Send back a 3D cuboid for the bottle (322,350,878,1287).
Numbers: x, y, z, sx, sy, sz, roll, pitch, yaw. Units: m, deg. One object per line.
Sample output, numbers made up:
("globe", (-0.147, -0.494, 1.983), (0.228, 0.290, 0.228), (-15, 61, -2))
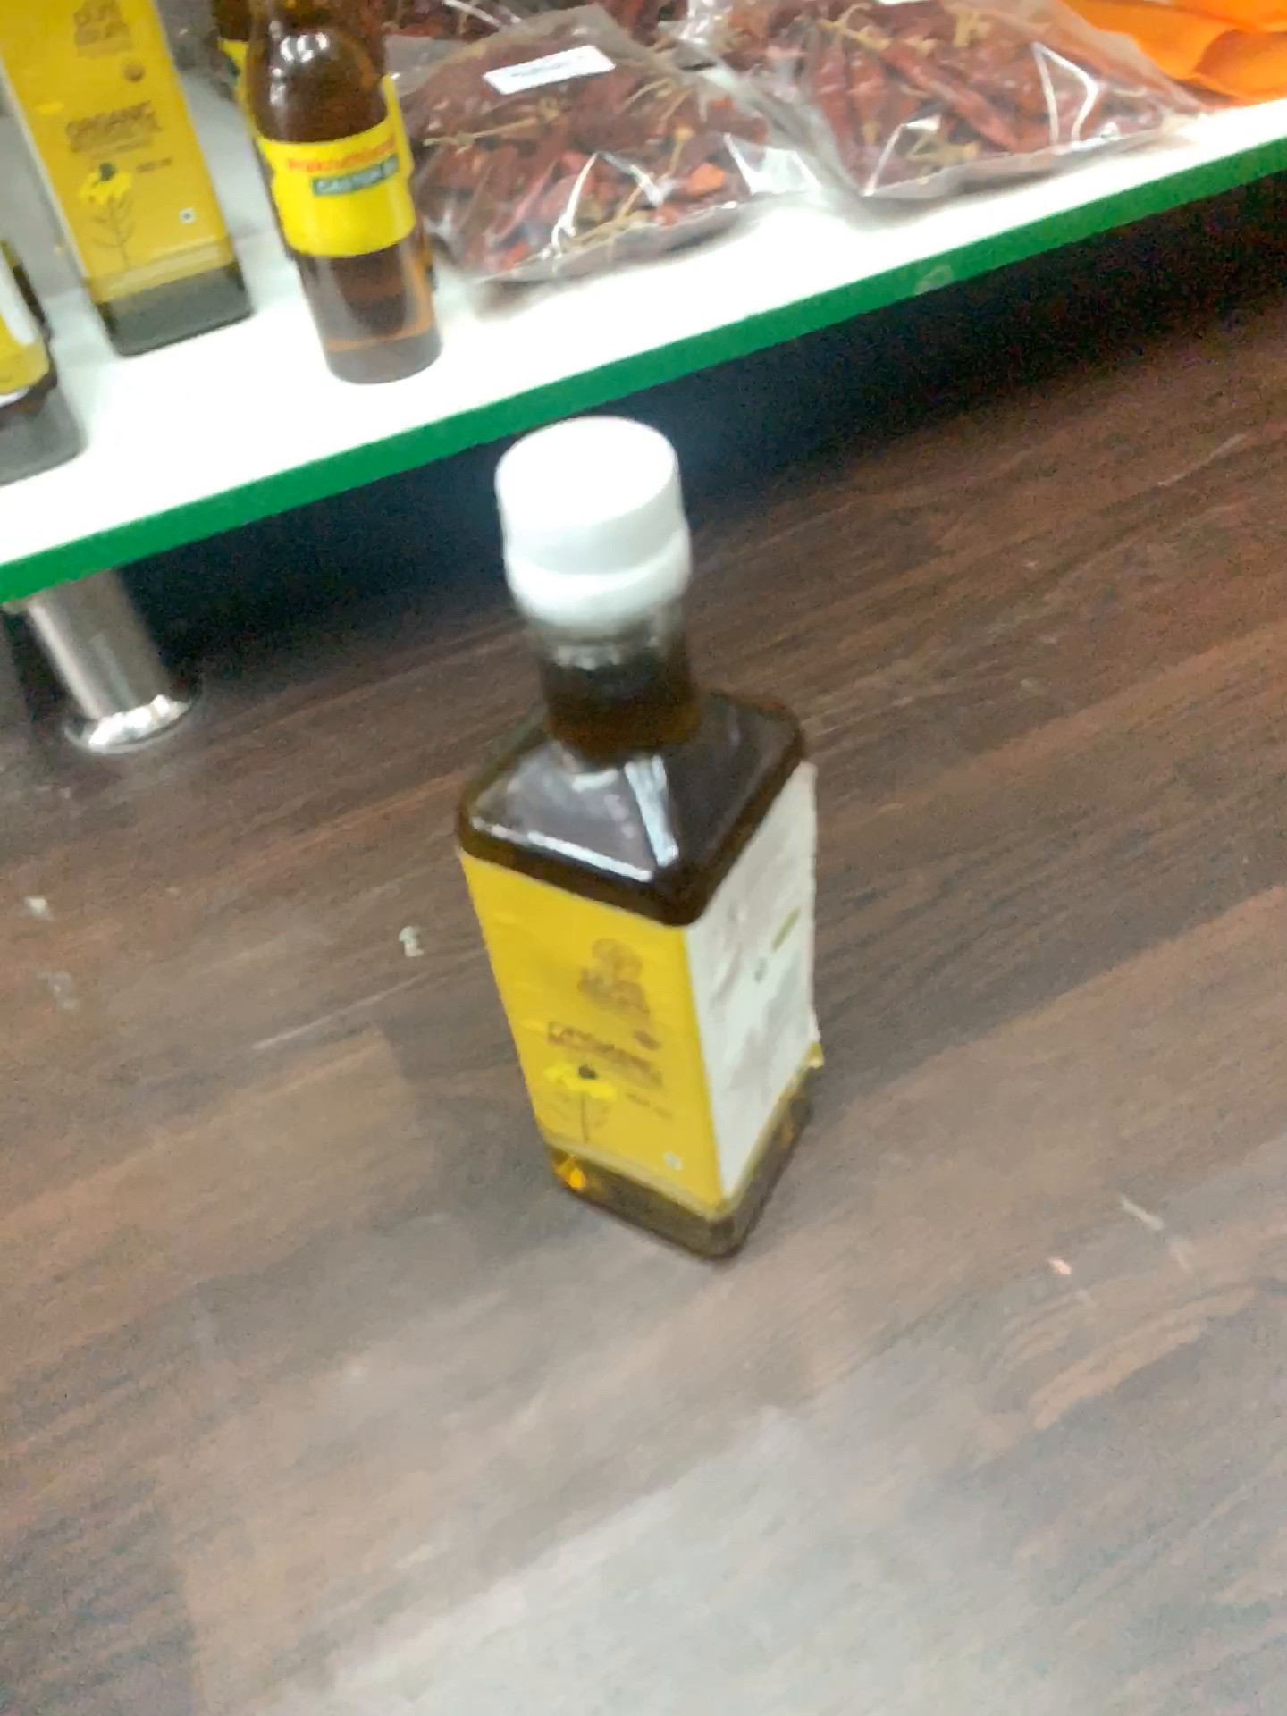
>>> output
("bottle", (0.004, 0.008, 0.285), (0.070, 0.209, 0.060), (19, 52, 23))
